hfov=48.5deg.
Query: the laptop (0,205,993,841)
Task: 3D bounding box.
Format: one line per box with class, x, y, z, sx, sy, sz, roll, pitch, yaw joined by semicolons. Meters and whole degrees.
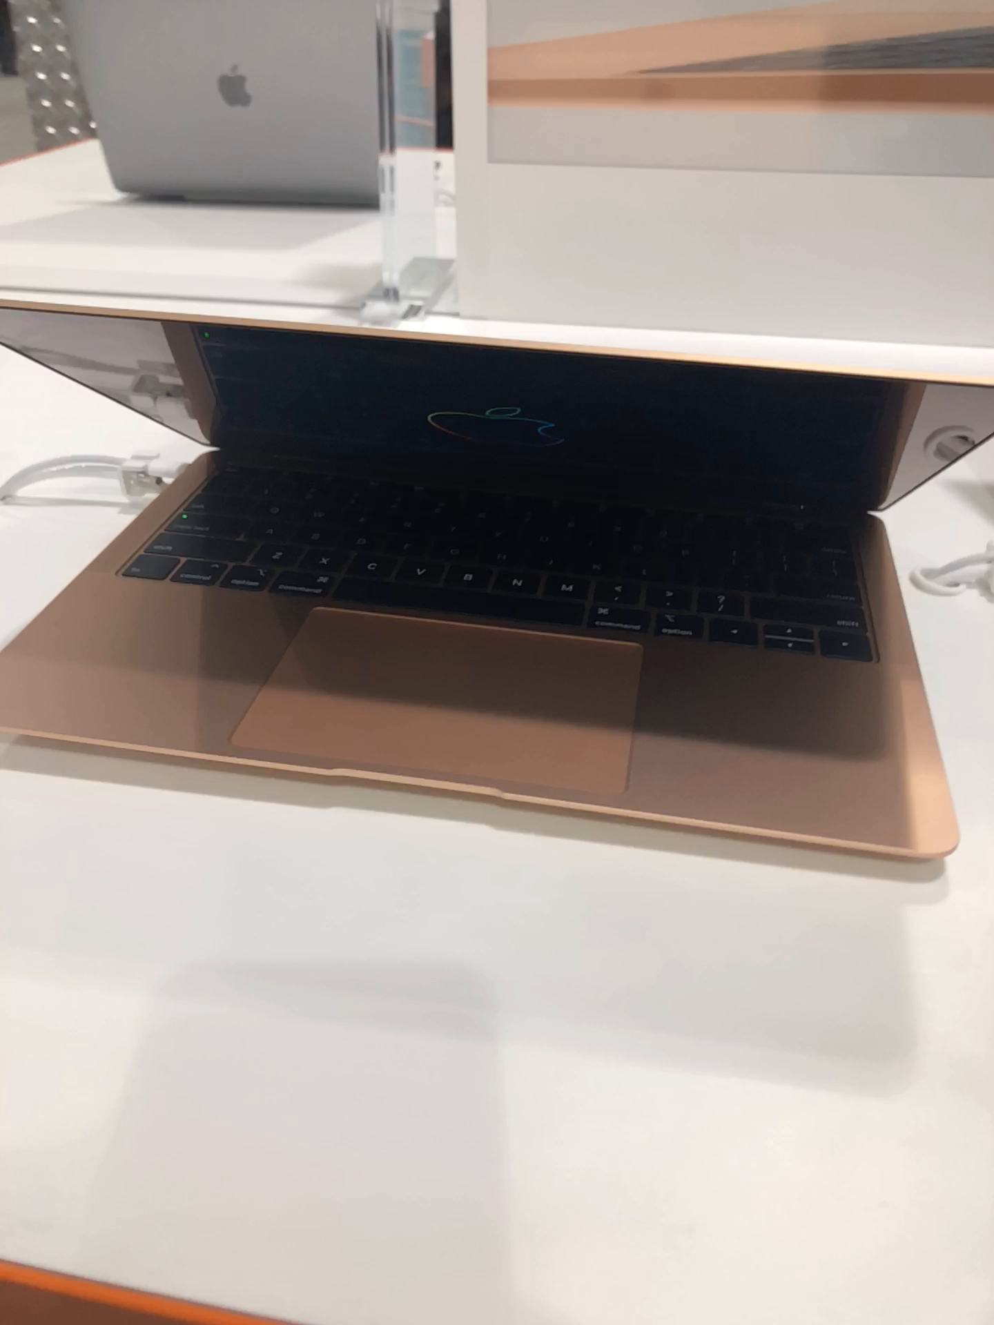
laptop;-0.002;-0.068;0.371;0.295;0.106;0.200;6;34;8
